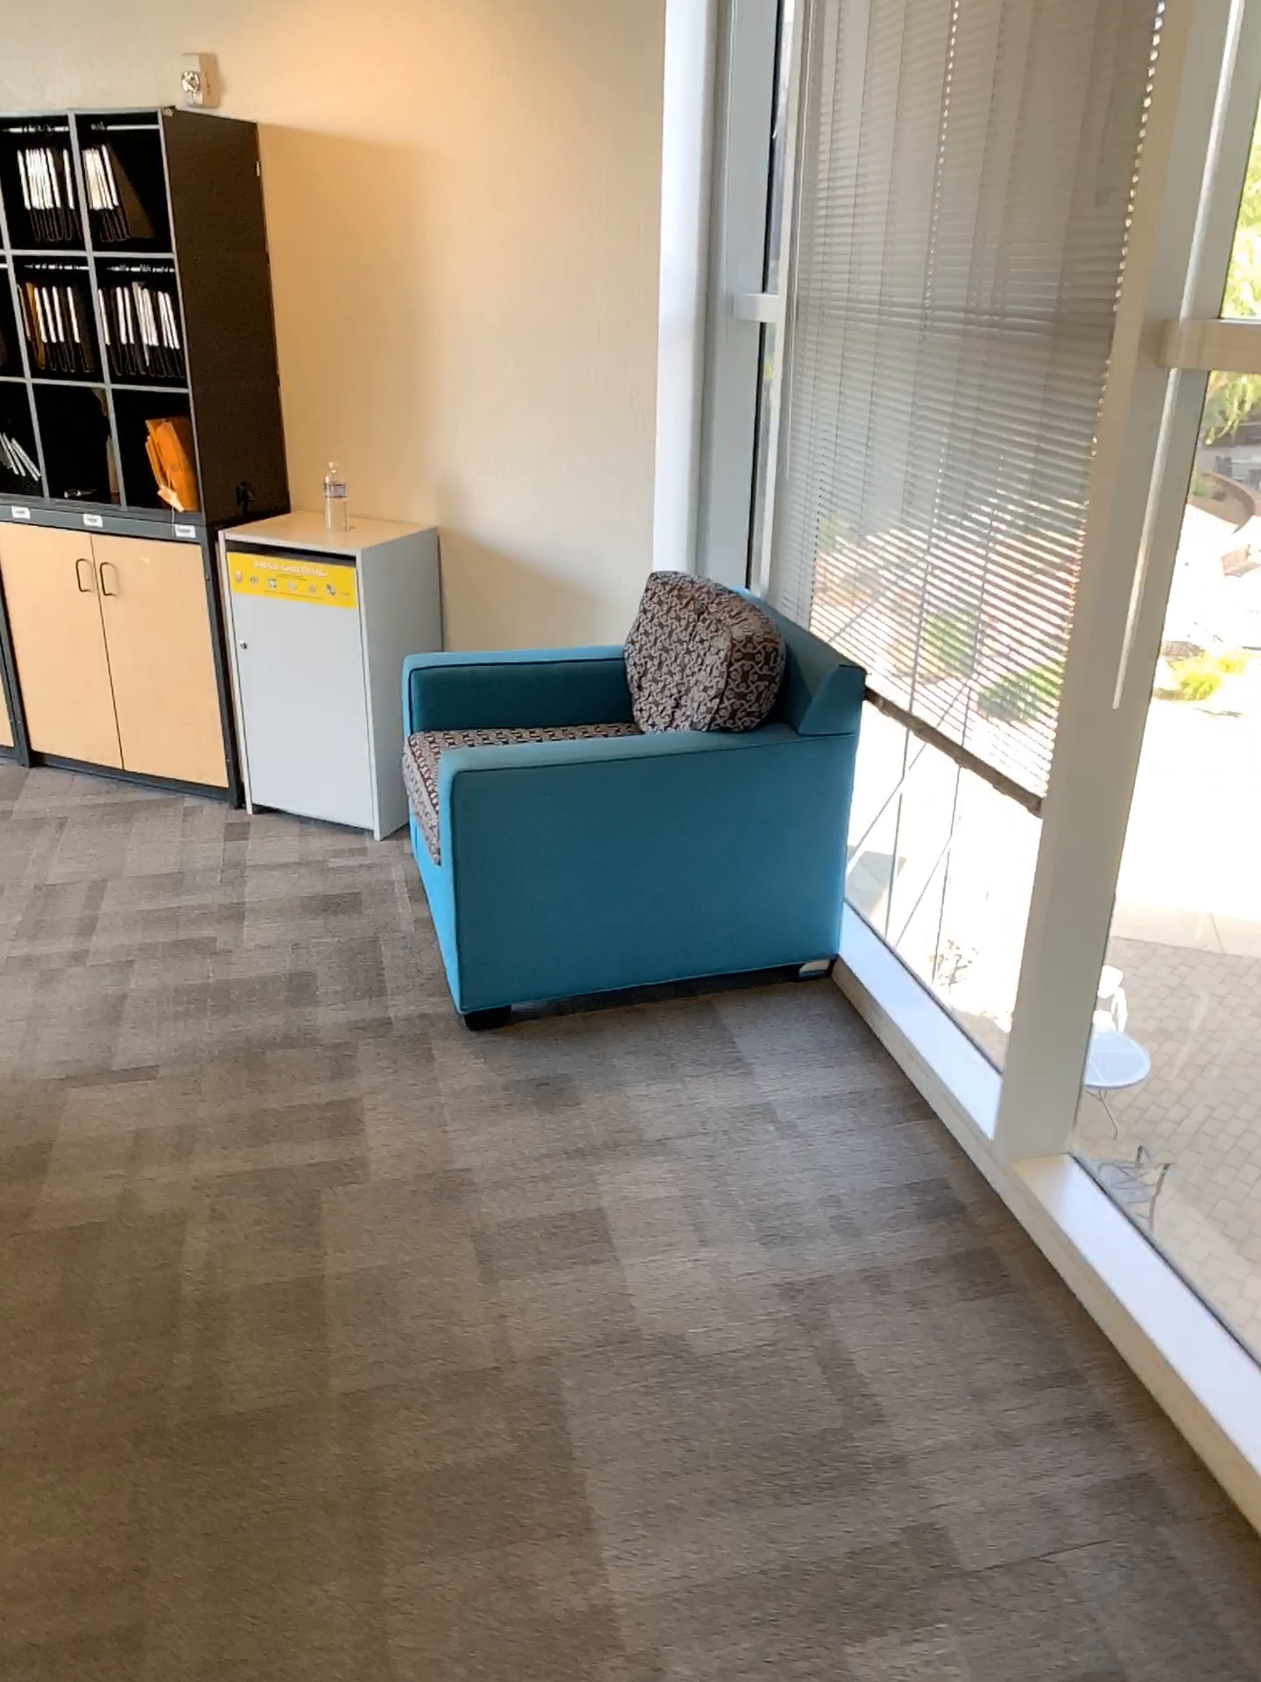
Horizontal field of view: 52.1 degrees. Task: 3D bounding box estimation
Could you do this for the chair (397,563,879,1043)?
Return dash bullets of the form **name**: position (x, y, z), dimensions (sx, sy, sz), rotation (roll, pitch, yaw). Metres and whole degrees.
- **chair**: position (-0.047, -0.159, 3.138), dimensions (0.920, 0.826, 0.915), rotation (-5, 24, -13)
